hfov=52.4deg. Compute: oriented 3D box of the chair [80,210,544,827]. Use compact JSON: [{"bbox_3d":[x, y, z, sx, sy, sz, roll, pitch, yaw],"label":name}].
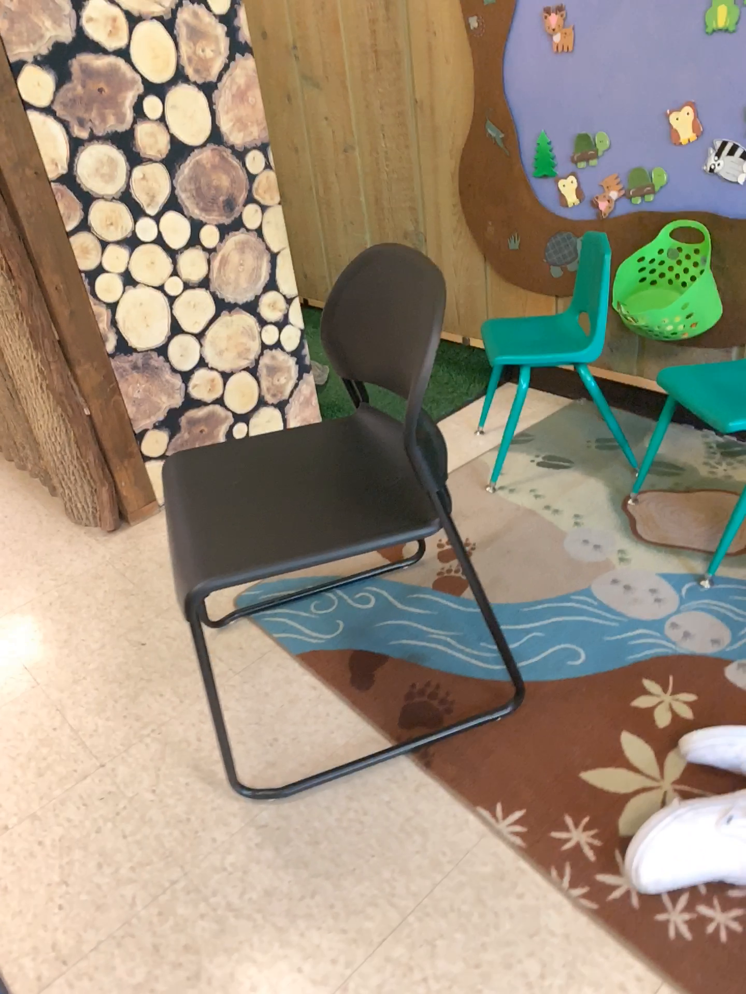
[{"bbox_3d":[-0.098,-0.002,1.347,0.570,0.785,0.594,-15,32,-11],"label":"chair"}]
